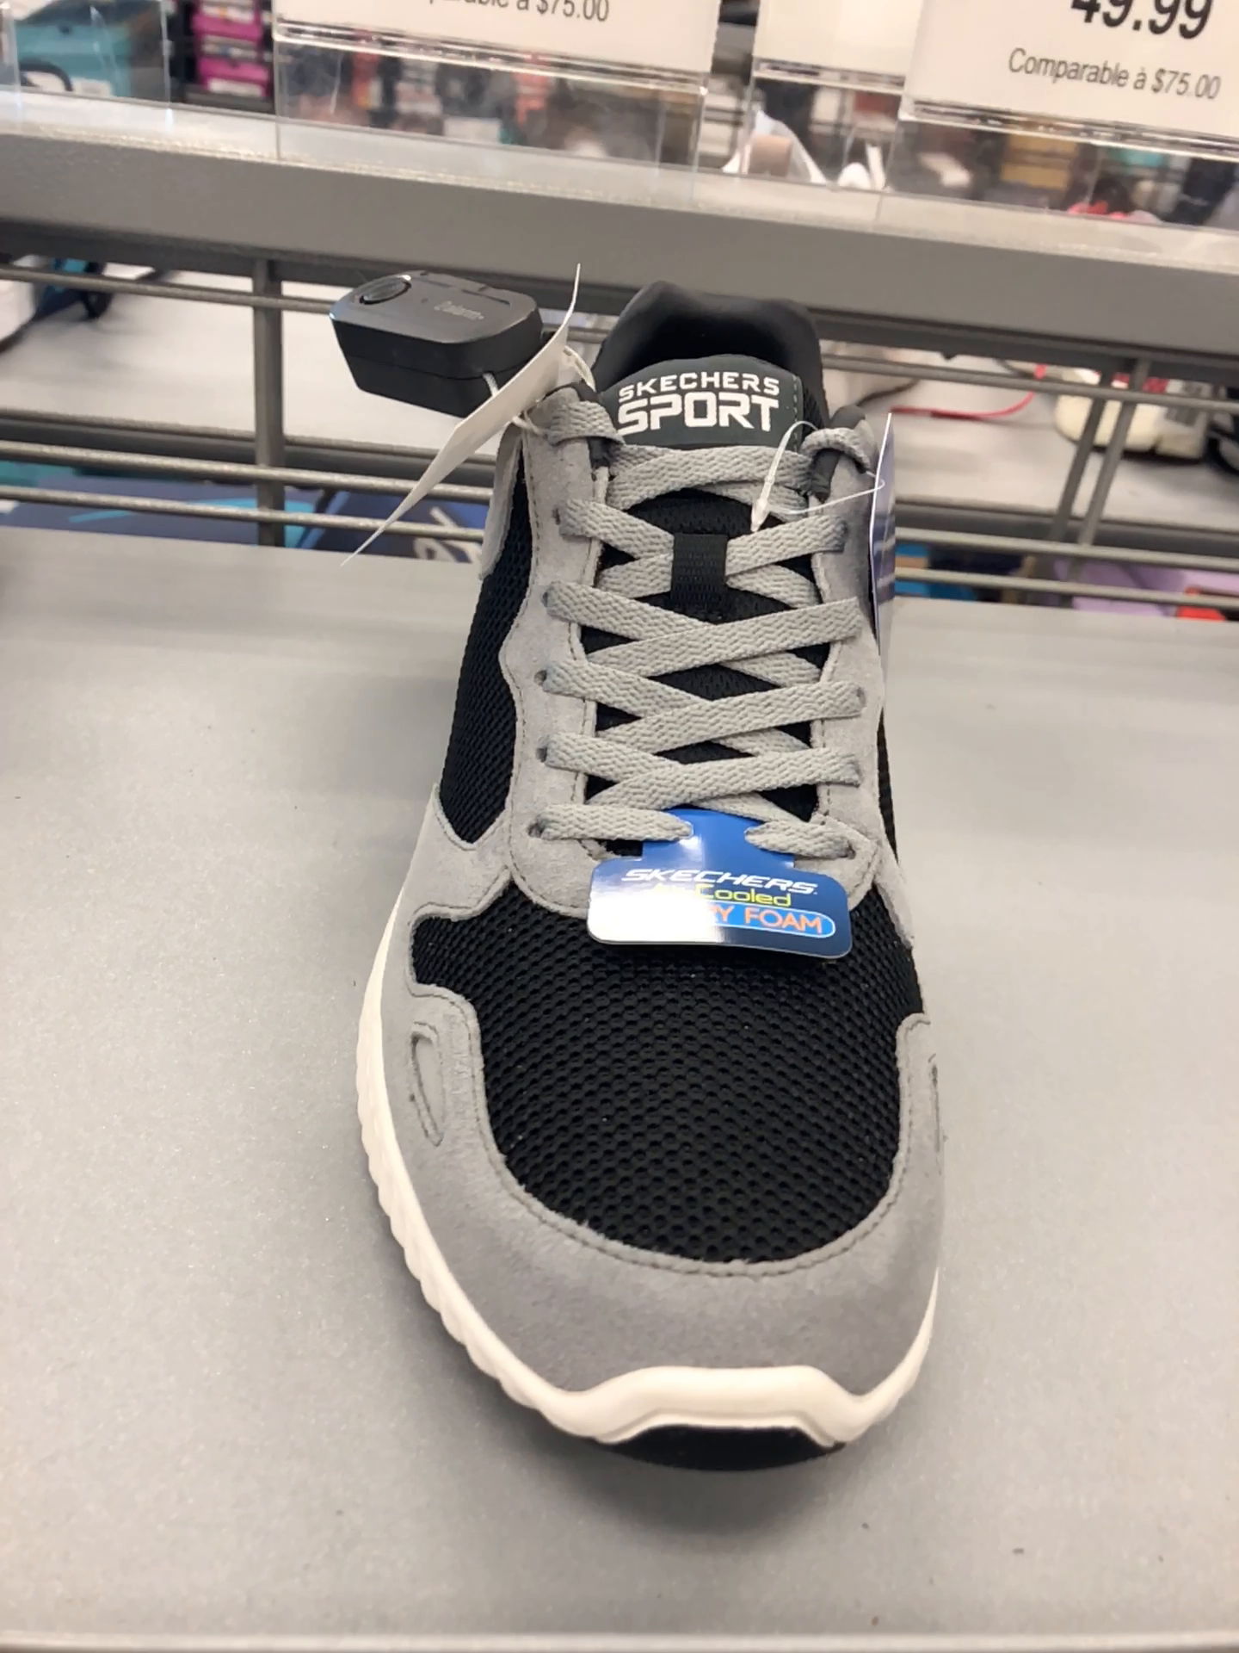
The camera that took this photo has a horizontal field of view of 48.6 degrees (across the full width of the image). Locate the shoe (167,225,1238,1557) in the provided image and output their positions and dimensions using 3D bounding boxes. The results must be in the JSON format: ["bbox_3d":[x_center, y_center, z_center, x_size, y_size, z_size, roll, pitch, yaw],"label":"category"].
[{"bbox_3d":[0.010,-0.028,0.302,0.120,0.119,0.302,7,35,-3],"label":"shoe"}]
